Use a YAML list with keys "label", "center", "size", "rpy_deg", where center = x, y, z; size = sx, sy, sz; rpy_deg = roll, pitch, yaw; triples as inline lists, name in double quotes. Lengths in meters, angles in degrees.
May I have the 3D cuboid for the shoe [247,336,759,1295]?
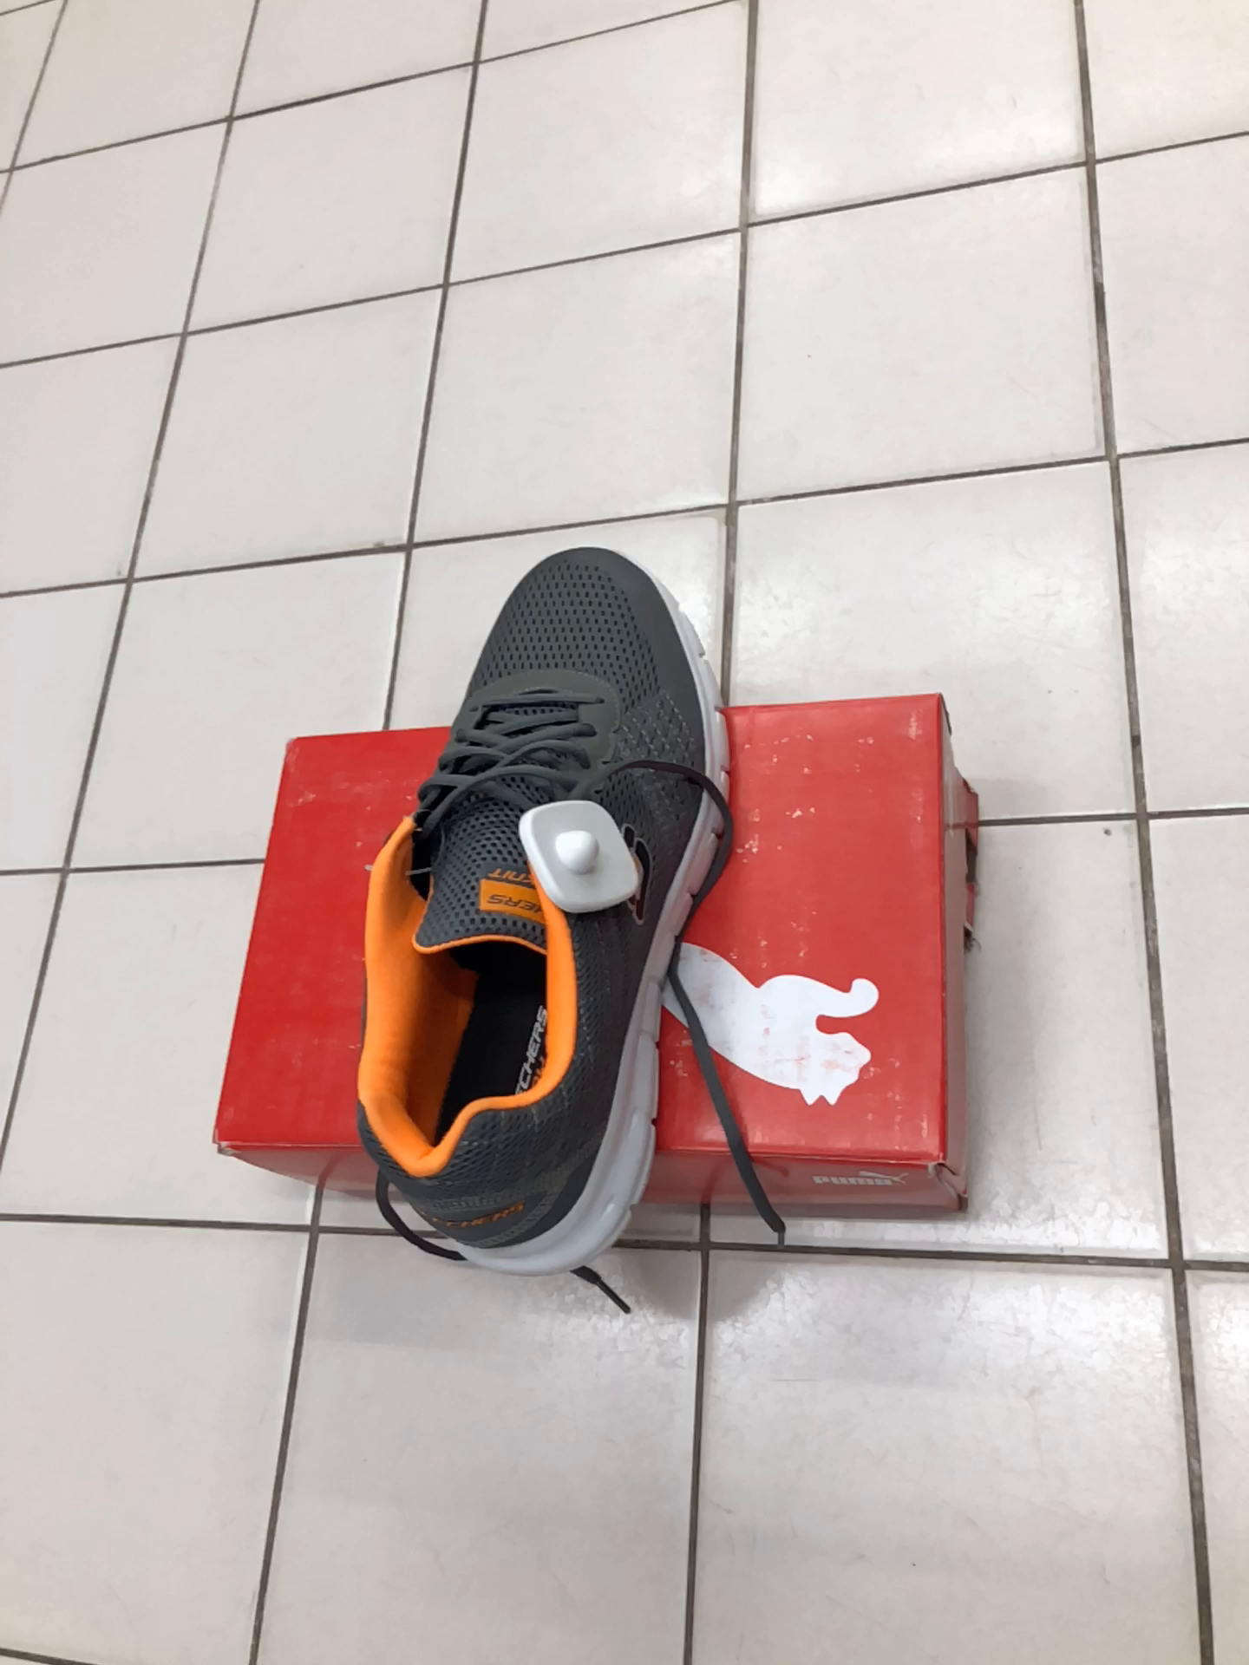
- label: "shoe"
  center: [-0.026, -0.002, 0.504]
  size: [0.110, 0.140, 0.311]
  rpy_deg: [-2, 67, 17]
